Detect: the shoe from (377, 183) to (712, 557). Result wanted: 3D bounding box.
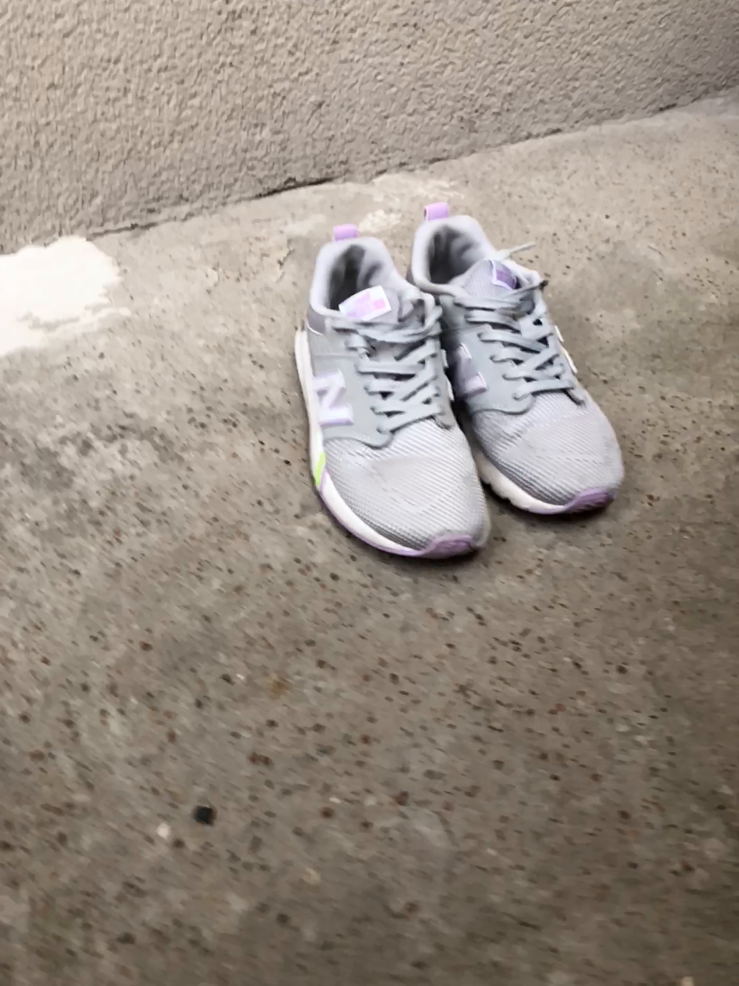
[{"bbox_3d":[0.102,-0.101,0.576,0.110,0.099,0.272,-12,50,-13],"label":"shoe"}]

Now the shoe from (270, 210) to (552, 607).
[{"bbox_3d":[0.011,-0.072,0.551,0.110,0.099,0.272,-9,49,-10],"label":"shoe"}]
